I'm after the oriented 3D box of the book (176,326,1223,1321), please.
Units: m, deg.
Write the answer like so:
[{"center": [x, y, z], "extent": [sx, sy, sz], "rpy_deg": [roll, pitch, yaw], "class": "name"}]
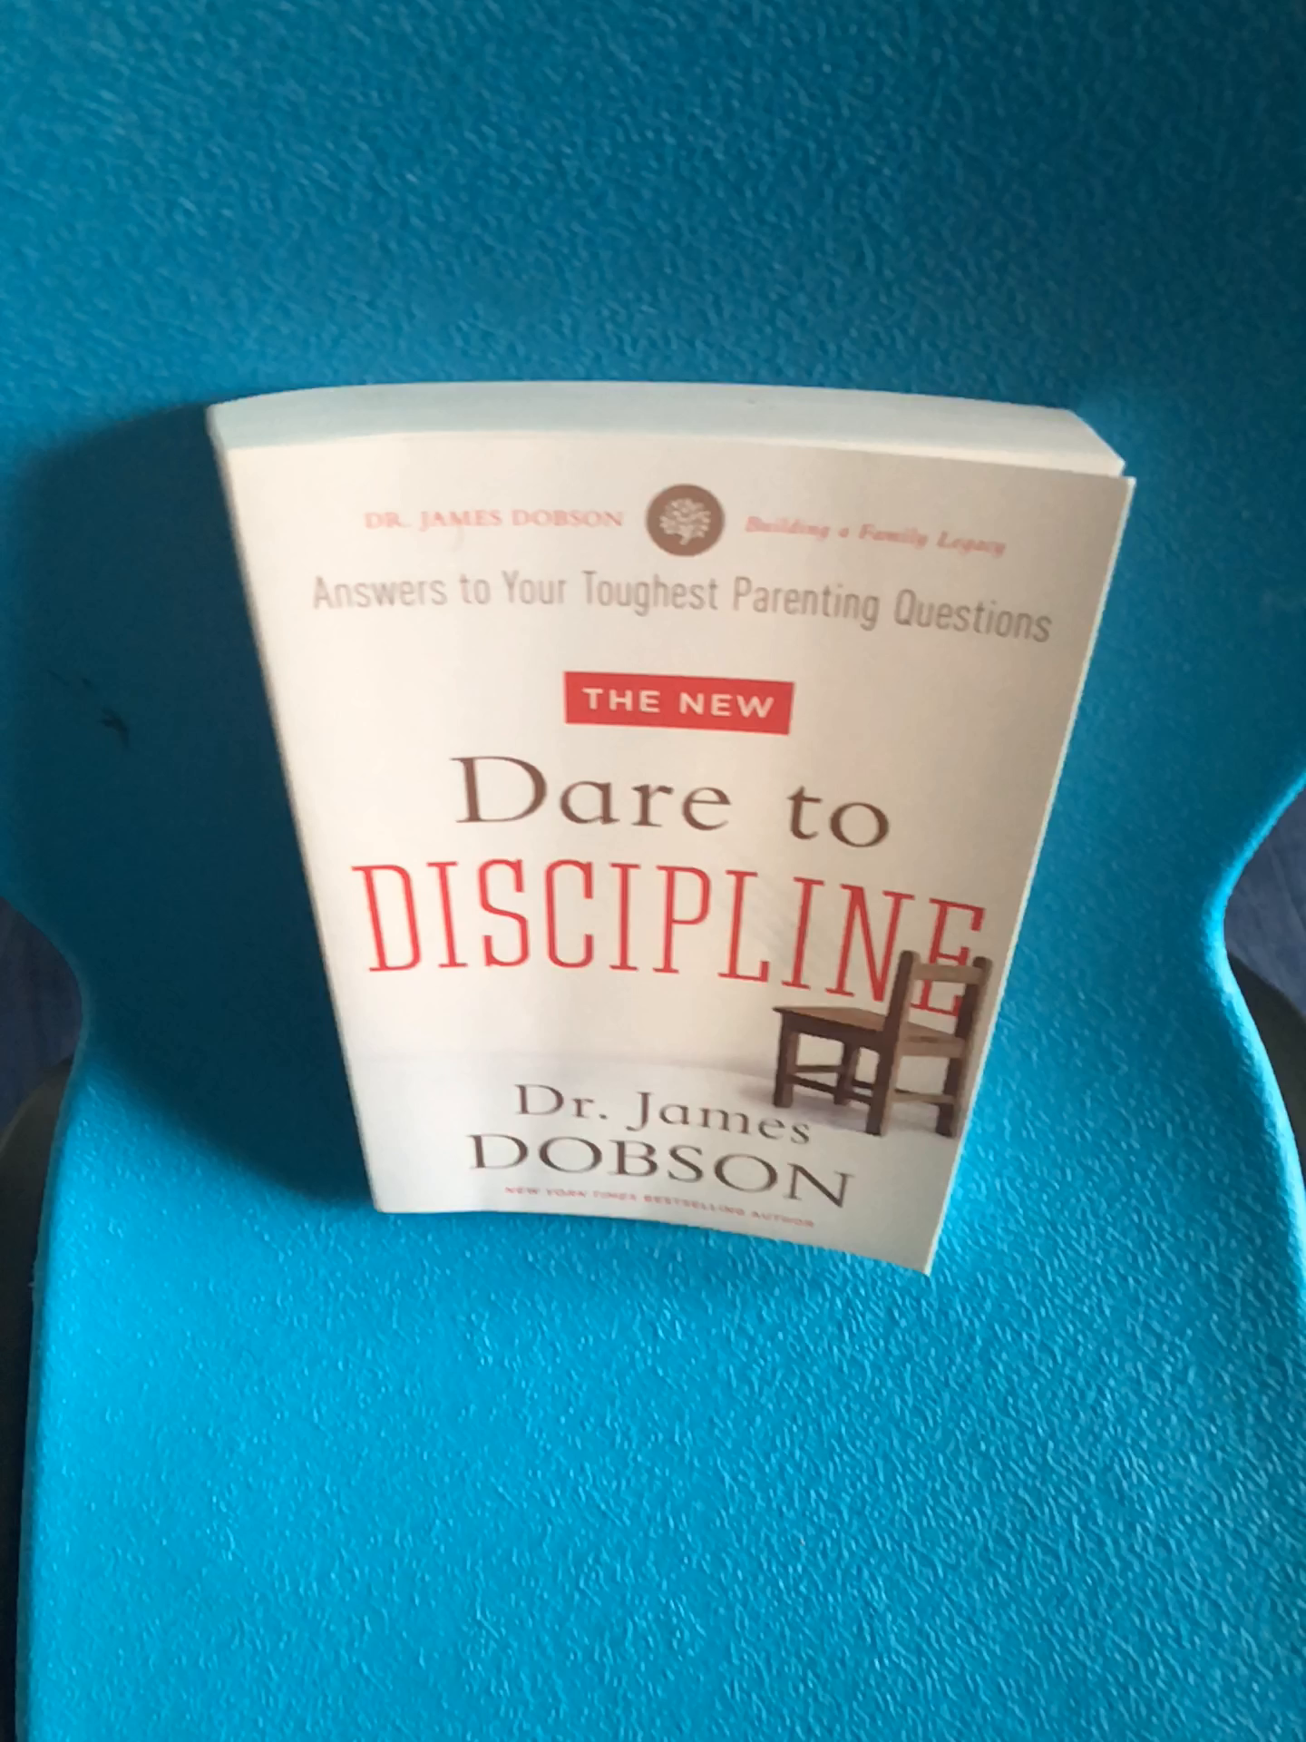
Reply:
[{"center": [0.004, 0.005, 0.284], "extent": [0.150, 0.200, 0.040], "rpy_deg": [5, 39, 3], "class": "book"}]
